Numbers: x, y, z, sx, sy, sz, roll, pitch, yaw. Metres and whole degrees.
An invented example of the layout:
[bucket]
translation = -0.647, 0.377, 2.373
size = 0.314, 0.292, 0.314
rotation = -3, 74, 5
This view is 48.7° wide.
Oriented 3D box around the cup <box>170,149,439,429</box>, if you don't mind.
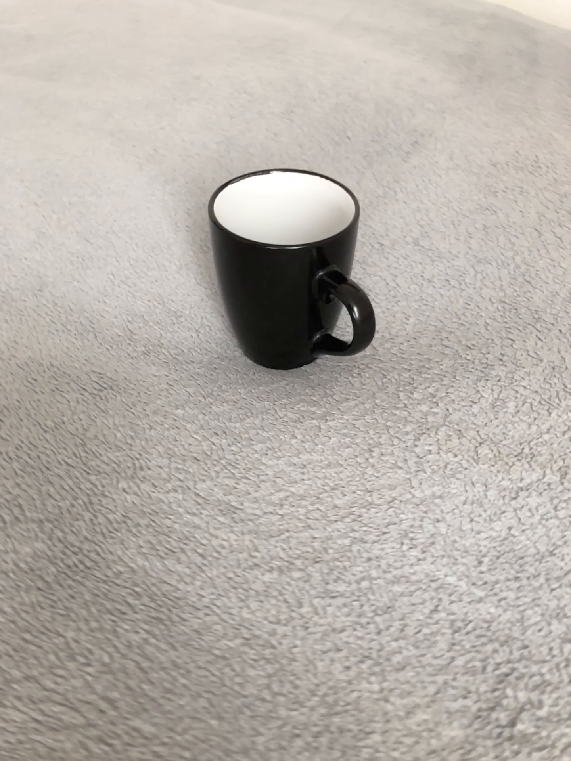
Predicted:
[cup]
translation = 0.004, -0.060, 0.372
size = 0.090, 0.089, 0.128
rotation = -22, 50, -25
